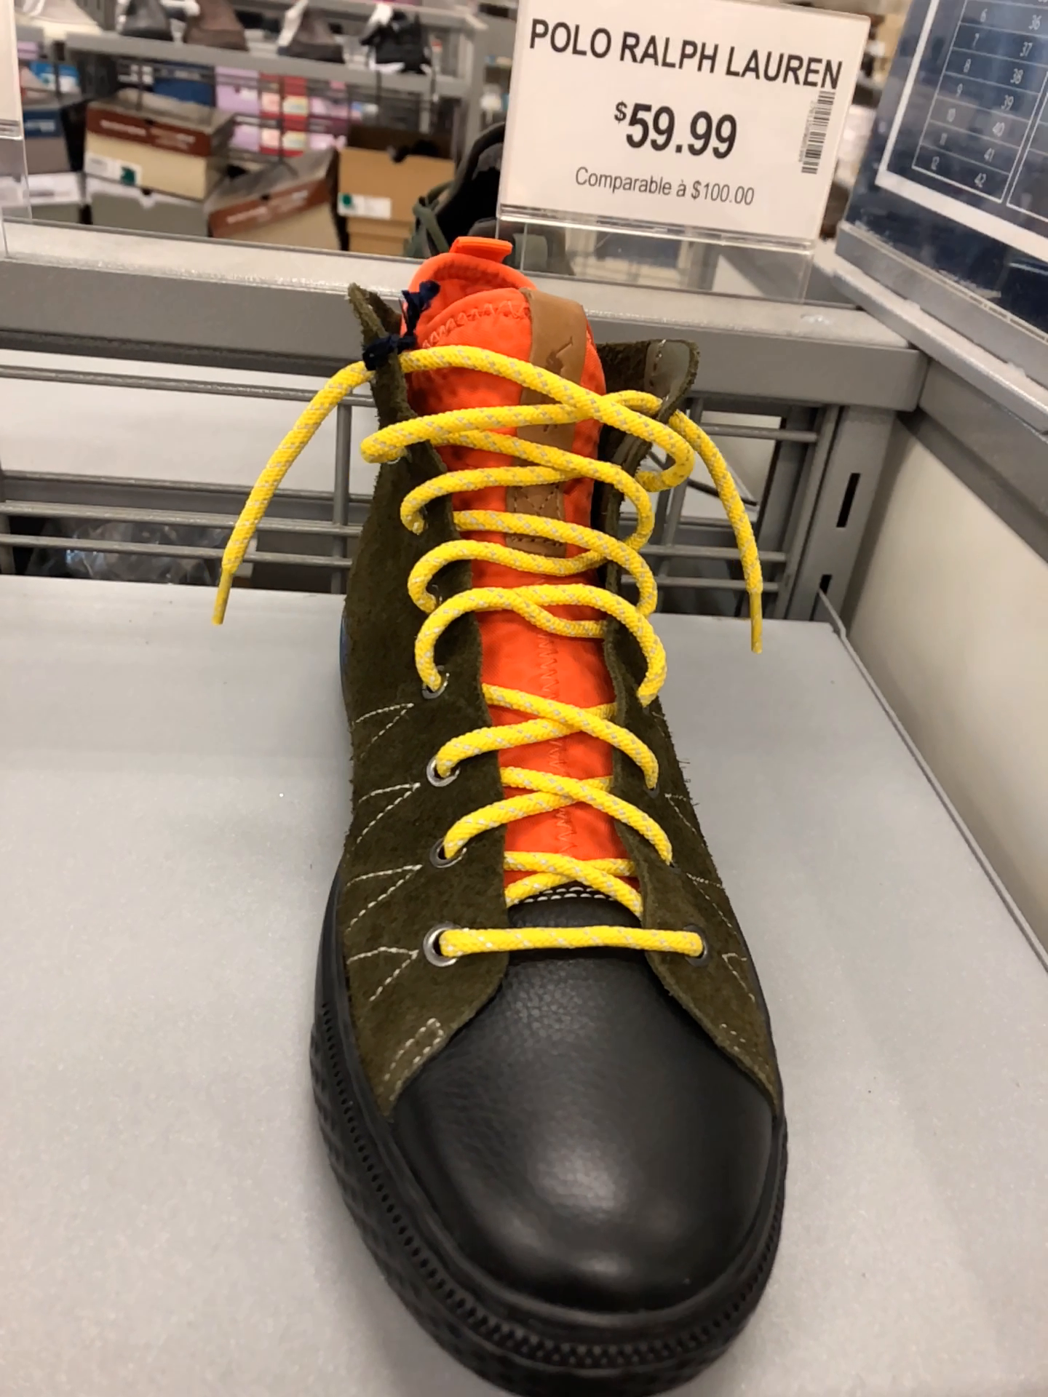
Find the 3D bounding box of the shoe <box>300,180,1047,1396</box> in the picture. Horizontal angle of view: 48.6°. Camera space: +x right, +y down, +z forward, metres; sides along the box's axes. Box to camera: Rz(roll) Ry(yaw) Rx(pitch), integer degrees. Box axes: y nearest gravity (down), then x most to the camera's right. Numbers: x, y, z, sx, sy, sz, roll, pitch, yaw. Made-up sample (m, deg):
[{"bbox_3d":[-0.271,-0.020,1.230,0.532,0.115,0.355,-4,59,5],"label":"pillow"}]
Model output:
[{"bbox_3d":[0.007,-0.014,0.310,0.125,0.171,0.300,1,32,-12],"label":"shoe"}]
